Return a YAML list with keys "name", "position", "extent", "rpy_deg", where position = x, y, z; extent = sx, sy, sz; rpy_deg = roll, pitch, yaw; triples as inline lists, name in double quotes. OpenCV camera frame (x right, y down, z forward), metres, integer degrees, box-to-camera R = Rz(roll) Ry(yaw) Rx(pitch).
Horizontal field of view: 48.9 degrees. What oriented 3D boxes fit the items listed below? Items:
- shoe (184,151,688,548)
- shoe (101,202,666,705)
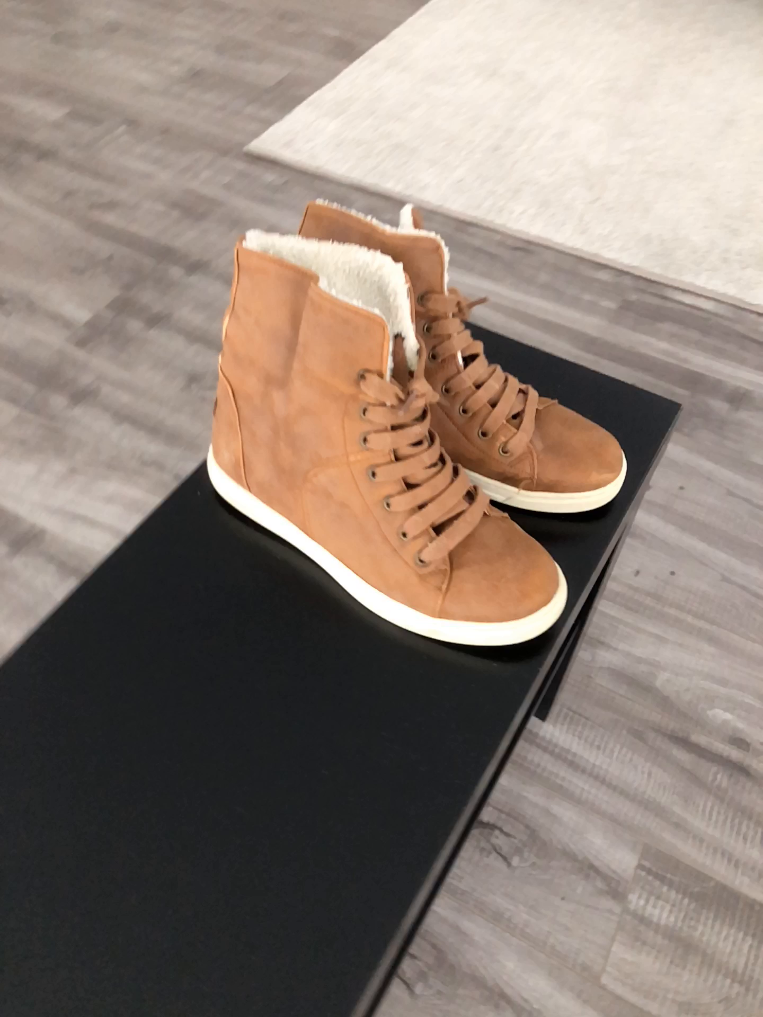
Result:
- name: "shoe"
  position: [0.029, -0.102, 0.525]
  extent: [0.260, 0.140, 0.110]
  rpy_deg: [20, 54, 15]
- name: "shoe"
  position: [-0.006, -0.036, 0.468]
  extent: [0.260, 0.150, 0.110]
  rpy_deg: [29, 56, 21]
